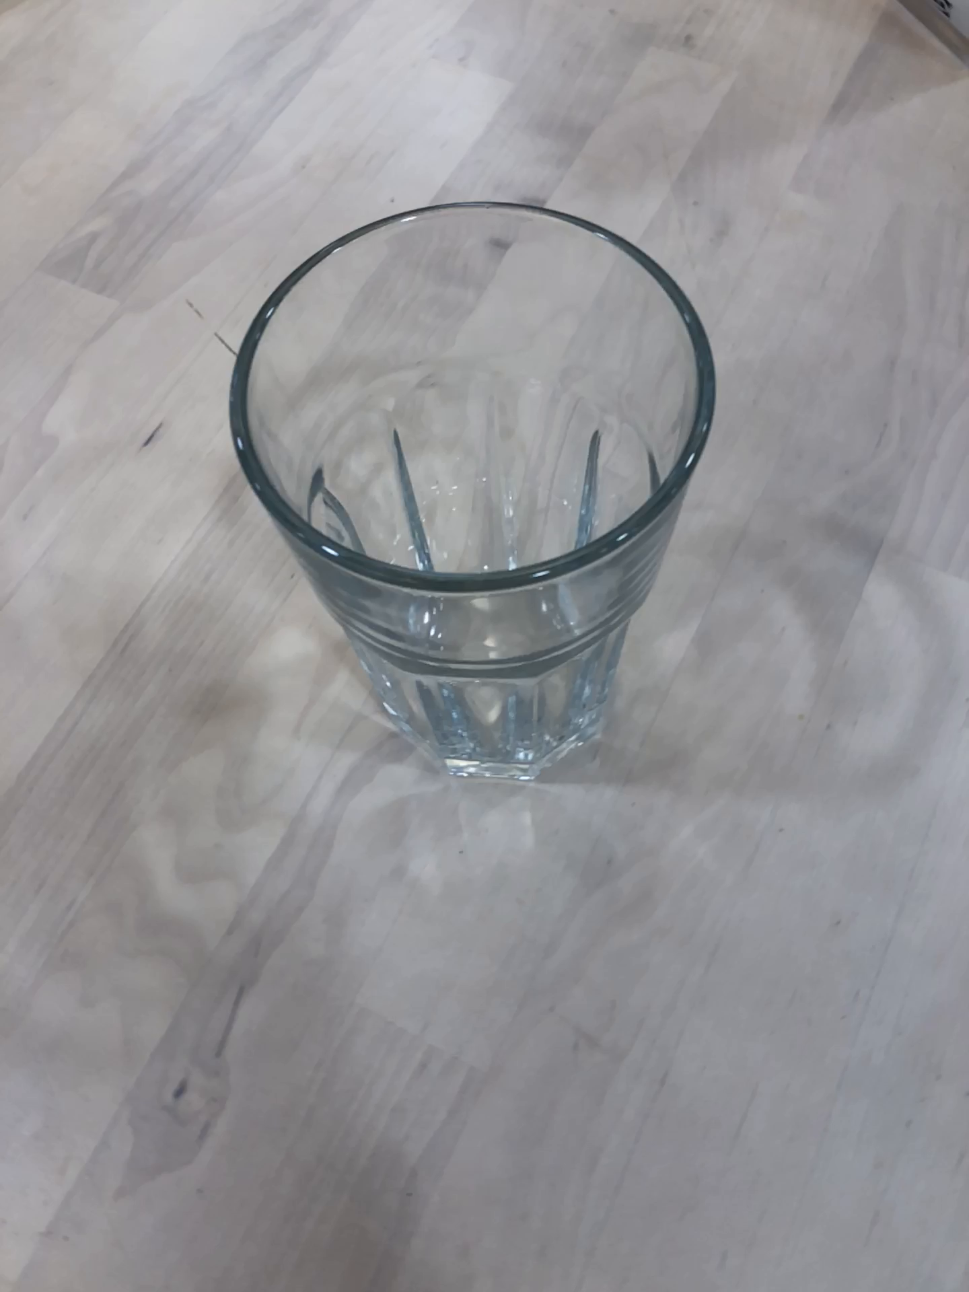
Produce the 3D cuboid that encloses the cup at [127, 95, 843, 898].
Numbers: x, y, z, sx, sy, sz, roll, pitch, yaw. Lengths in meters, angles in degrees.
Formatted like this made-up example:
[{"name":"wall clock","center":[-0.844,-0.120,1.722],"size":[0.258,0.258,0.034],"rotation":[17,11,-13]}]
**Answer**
[{"name":"cup","center":[0.004,-0.020,0.262],"size":[0.090,0.159,0.090],"rotation":[-1,64,3]}]
